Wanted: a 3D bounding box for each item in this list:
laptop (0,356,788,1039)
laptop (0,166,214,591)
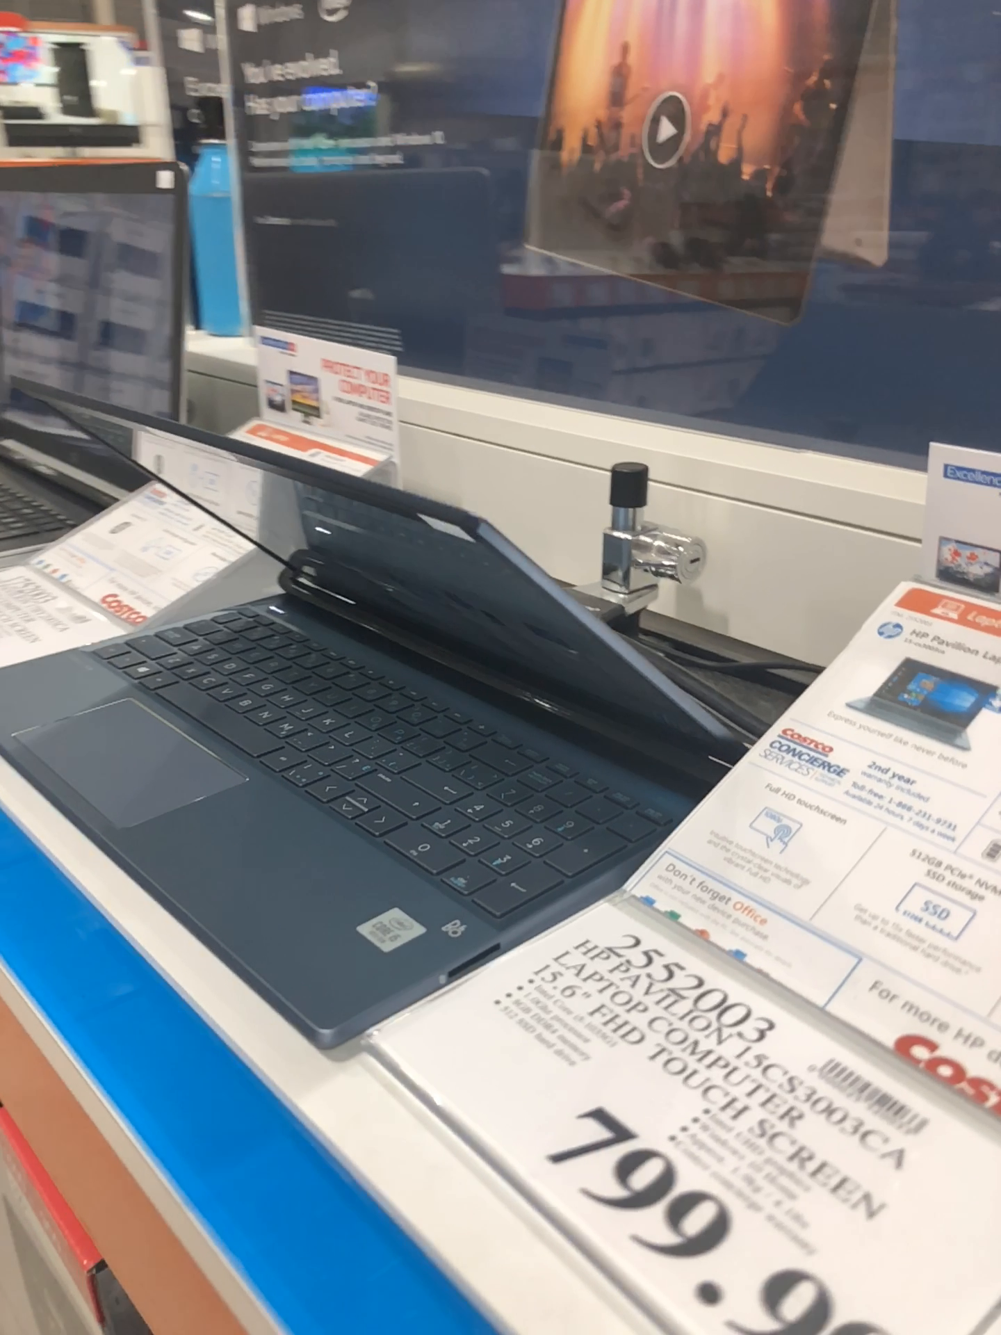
[{"bbox_3d":[-0.085,-0.036,0.496,0.217,0.149,0.348,-20,30,-38],"label":"laptop"},{"bbox_3d":[-0.433,-0.250,0.828,0.287,0.227,0.343,-22,32,-39],"label":"laptop"}]
